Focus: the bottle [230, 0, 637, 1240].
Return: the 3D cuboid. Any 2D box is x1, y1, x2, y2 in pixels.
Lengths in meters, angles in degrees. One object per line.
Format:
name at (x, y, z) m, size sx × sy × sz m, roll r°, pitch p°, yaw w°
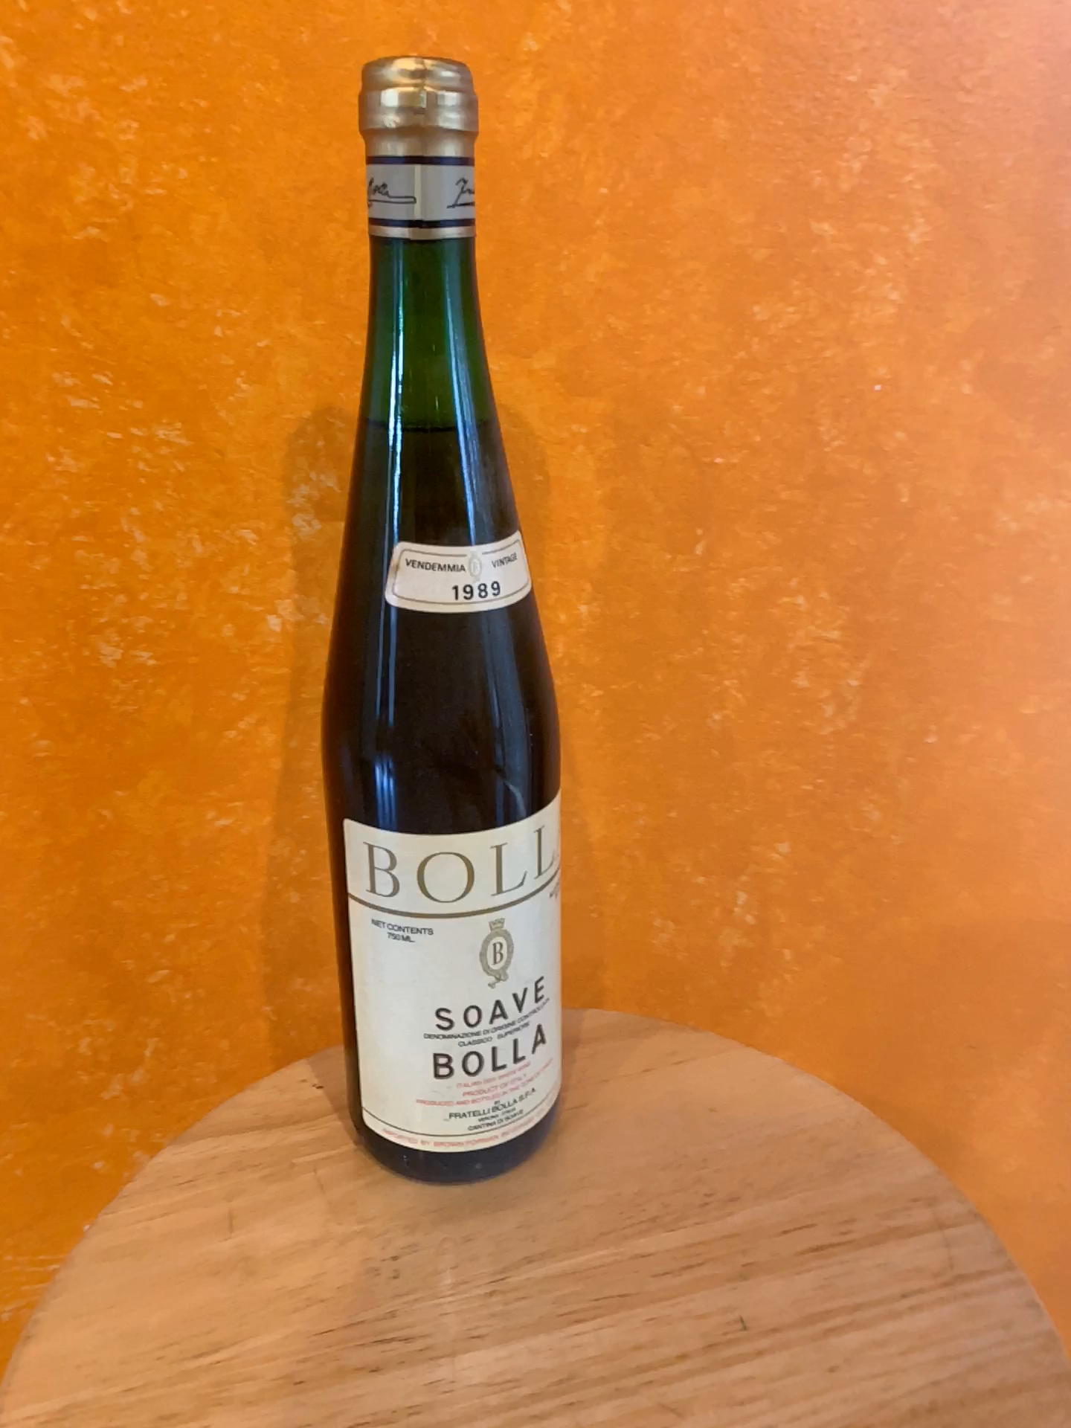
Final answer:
bottle at (-0.028, -0.008, 0.334) m, size 0.080 × 0.338 × 0.070 m, roll -10°, pitch 24°, yaw -23°
